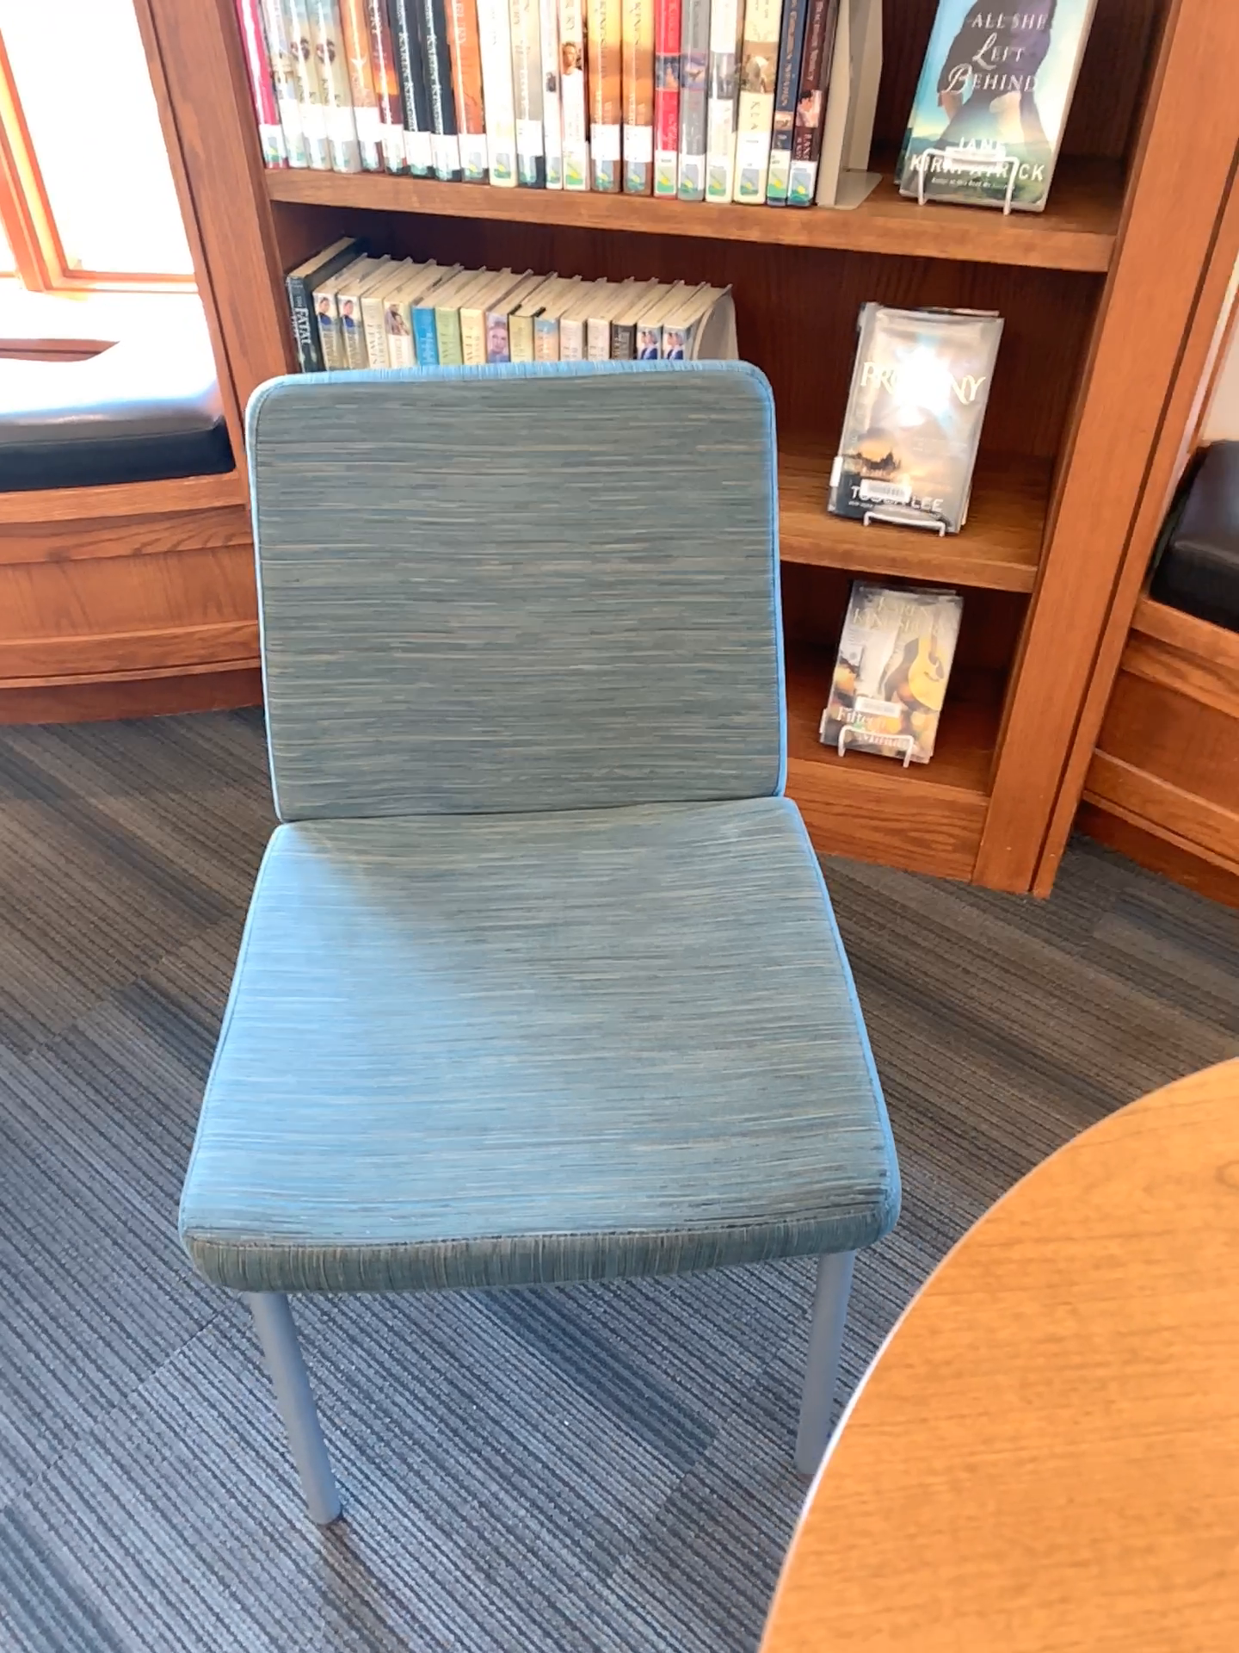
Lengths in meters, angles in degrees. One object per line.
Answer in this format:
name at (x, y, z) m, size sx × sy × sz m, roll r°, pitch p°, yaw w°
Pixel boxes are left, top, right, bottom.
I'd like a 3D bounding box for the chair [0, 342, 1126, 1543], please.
chair at (-0.054, 0.110, 1.051) m, size 0.550 × 0.786 × 0.593 m, roll -3°, pitch 41°, yaw -2°
